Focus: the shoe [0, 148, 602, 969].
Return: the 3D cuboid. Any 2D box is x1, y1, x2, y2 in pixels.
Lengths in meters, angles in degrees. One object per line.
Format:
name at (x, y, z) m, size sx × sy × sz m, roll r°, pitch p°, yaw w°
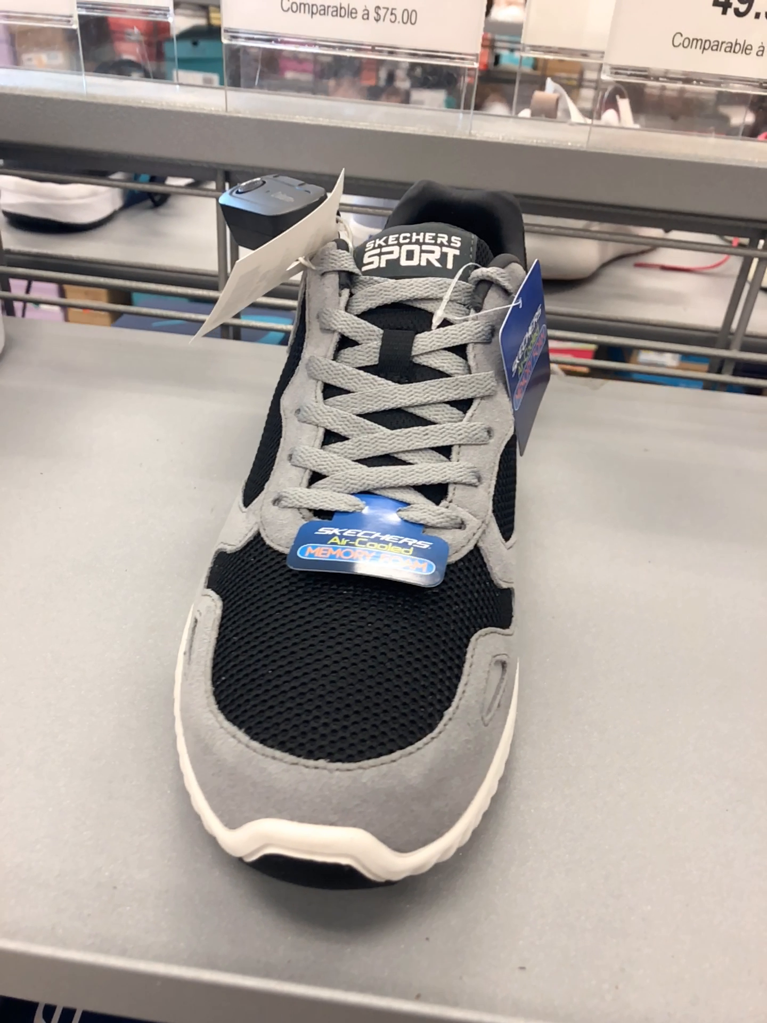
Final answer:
shoe at (0.002, -0.029, 0.307) m, size 0.120 × 0.119 × 0.302 m, roll 10°, pitch 35°, yaw 6°
